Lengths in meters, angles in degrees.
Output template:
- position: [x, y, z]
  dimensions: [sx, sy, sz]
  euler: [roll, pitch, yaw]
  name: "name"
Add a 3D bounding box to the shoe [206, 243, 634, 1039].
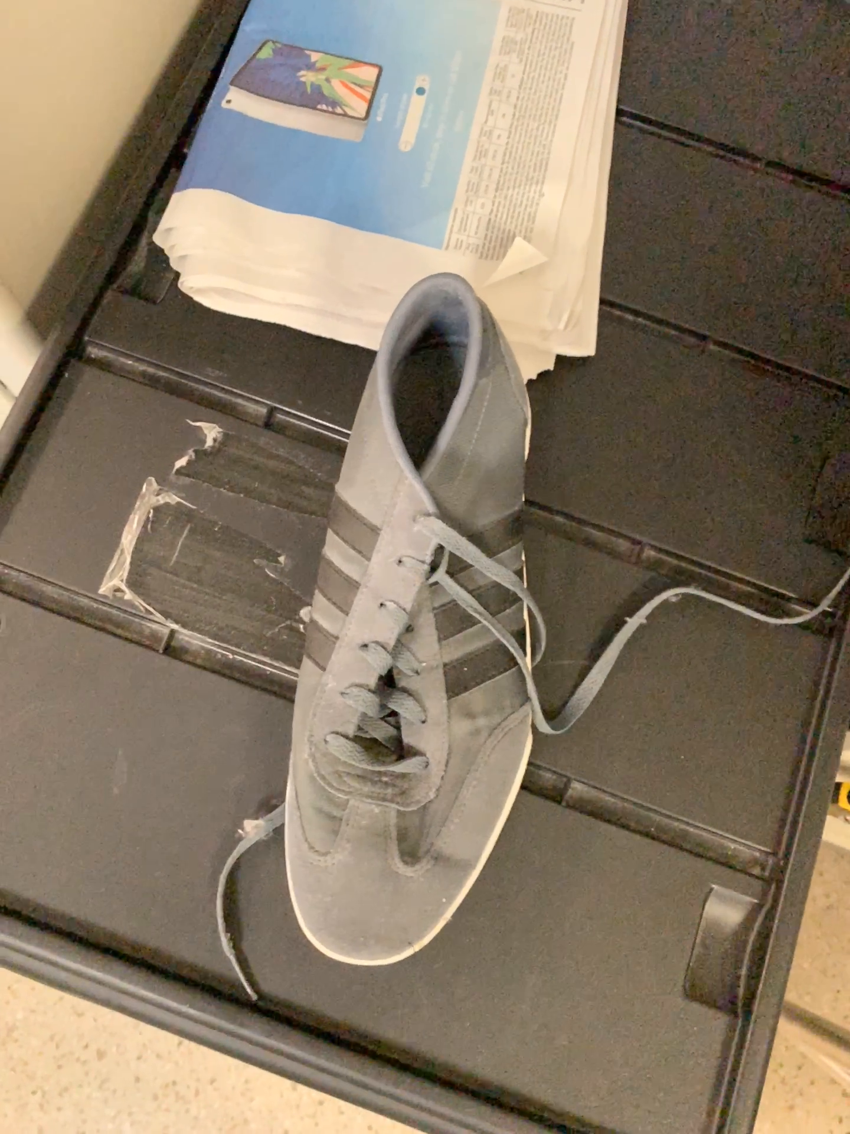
- position: [0.005, 0.020, 0.343]
  dimensions: [0.113, 0.077, 0.268]
  euler: [9, 75, -1]
  name: "shoe"
